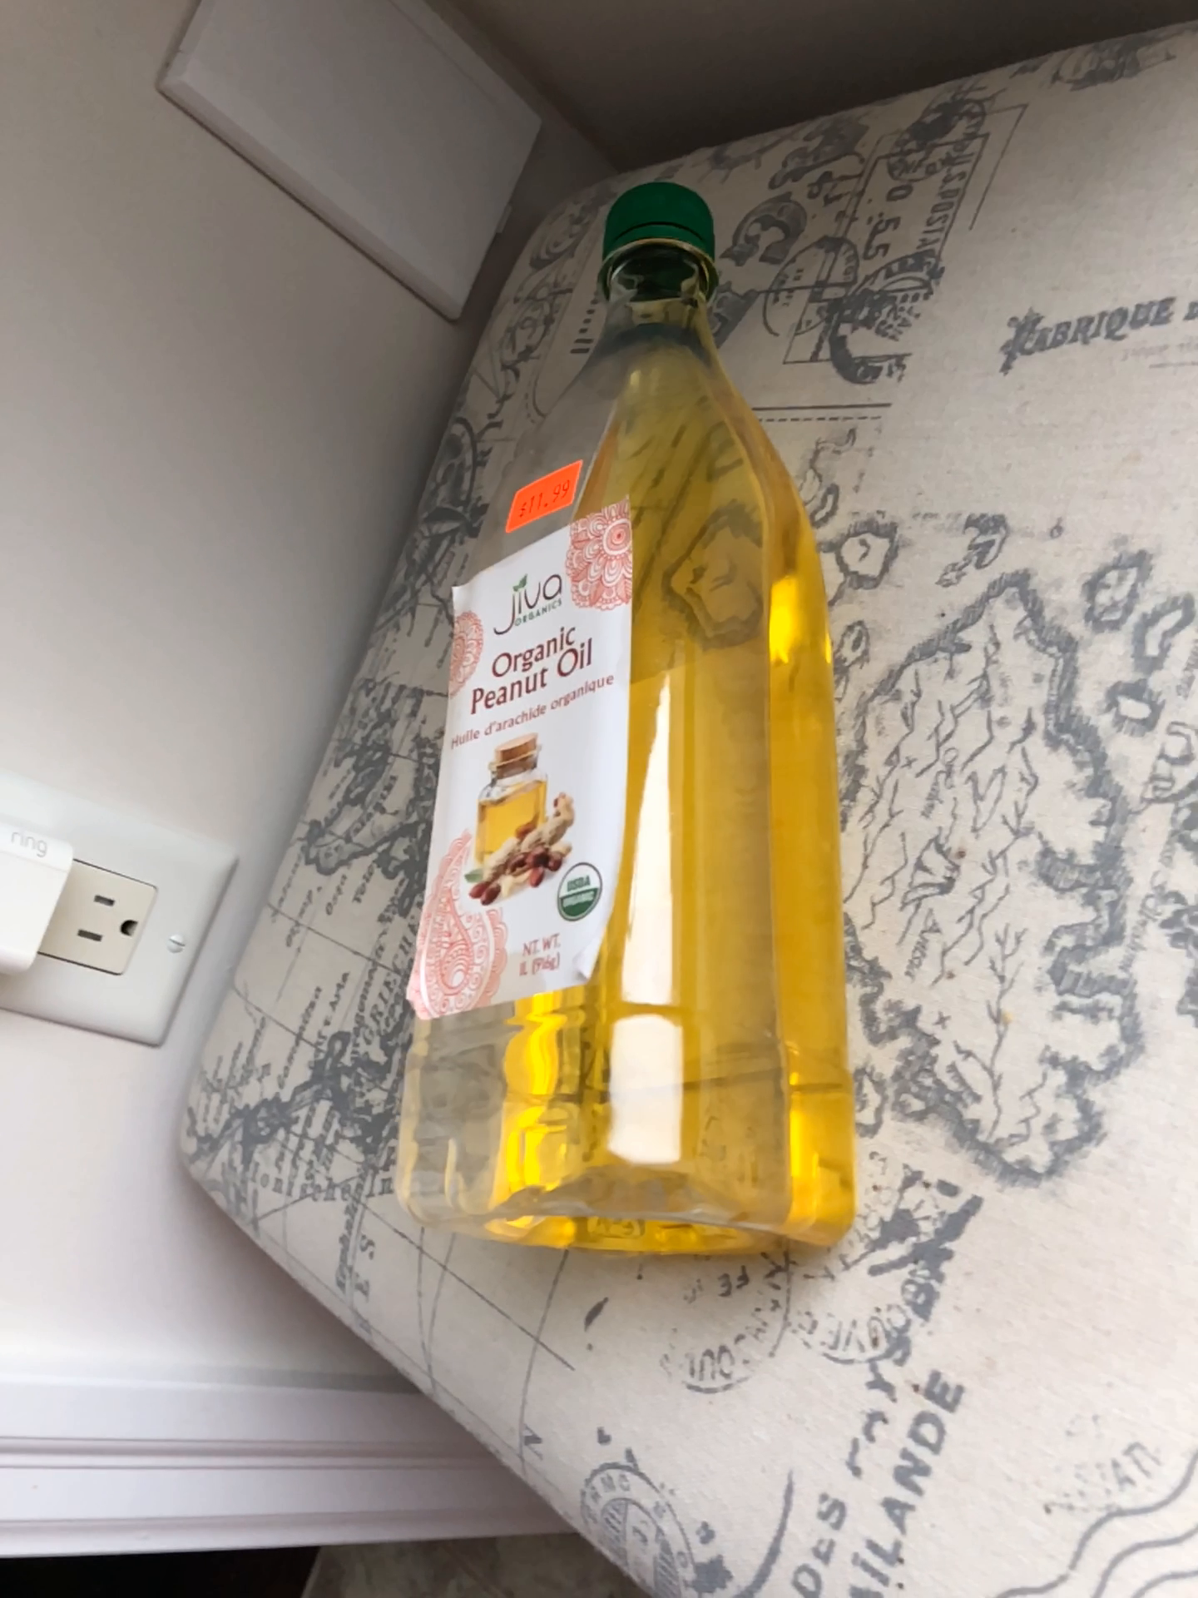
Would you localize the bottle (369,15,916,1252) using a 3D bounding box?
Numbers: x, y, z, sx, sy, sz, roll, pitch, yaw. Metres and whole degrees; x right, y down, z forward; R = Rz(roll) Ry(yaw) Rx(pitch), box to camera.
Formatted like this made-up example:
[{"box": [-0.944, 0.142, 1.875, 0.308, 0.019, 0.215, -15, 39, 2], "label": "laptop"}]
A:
[{"box": [0.012, -0.040, 0.311, 0.080, 0.070, 0.270, -17, 61, 38], "label": "bottle"}]
